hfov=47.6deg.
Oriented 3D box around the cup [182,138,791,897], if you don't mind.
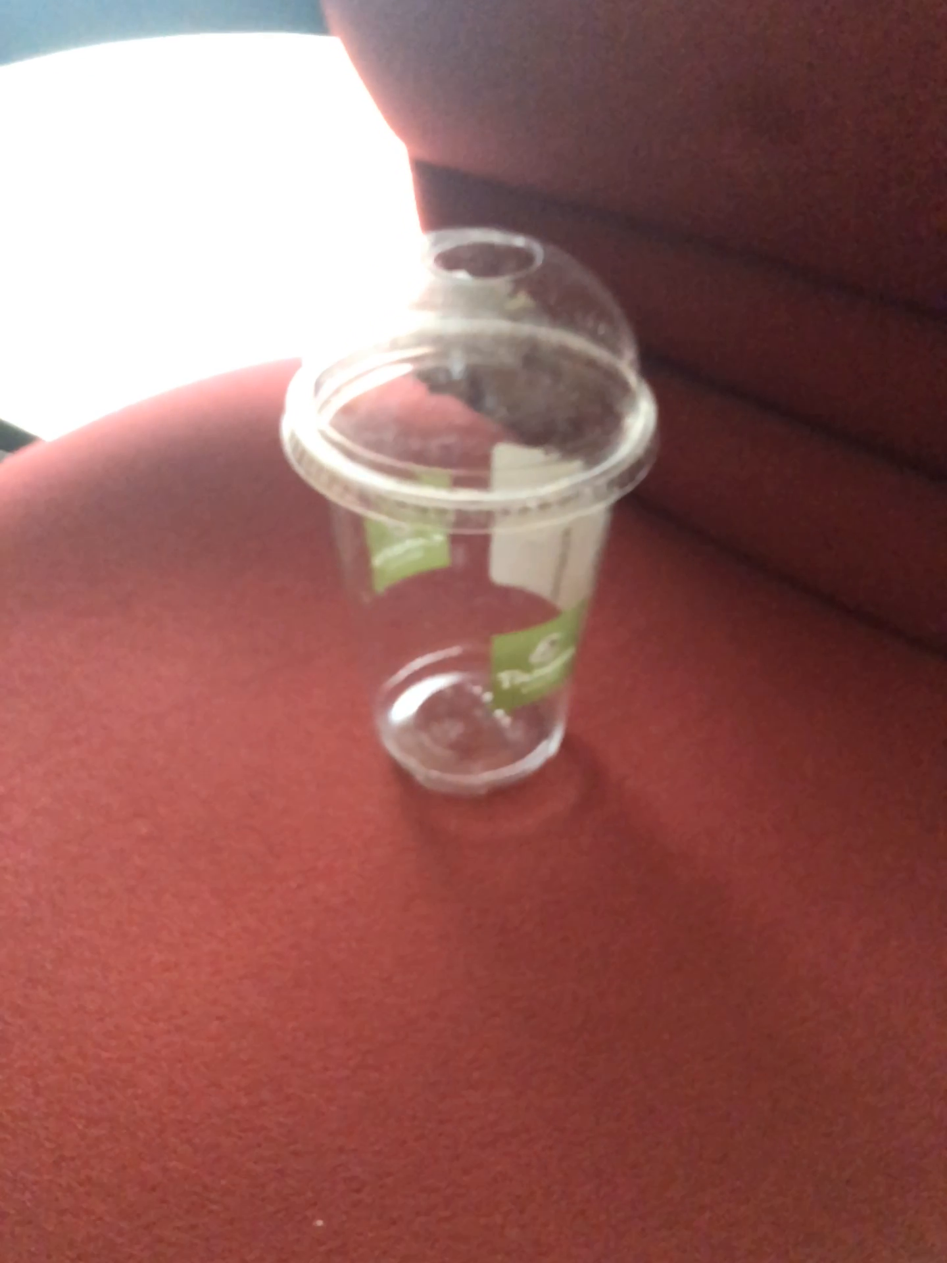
[{"bbox_3d":[0.001,-0.032,0.284,0.090,0.150,0.100,-29,48,-31],"label":"cup"}]
